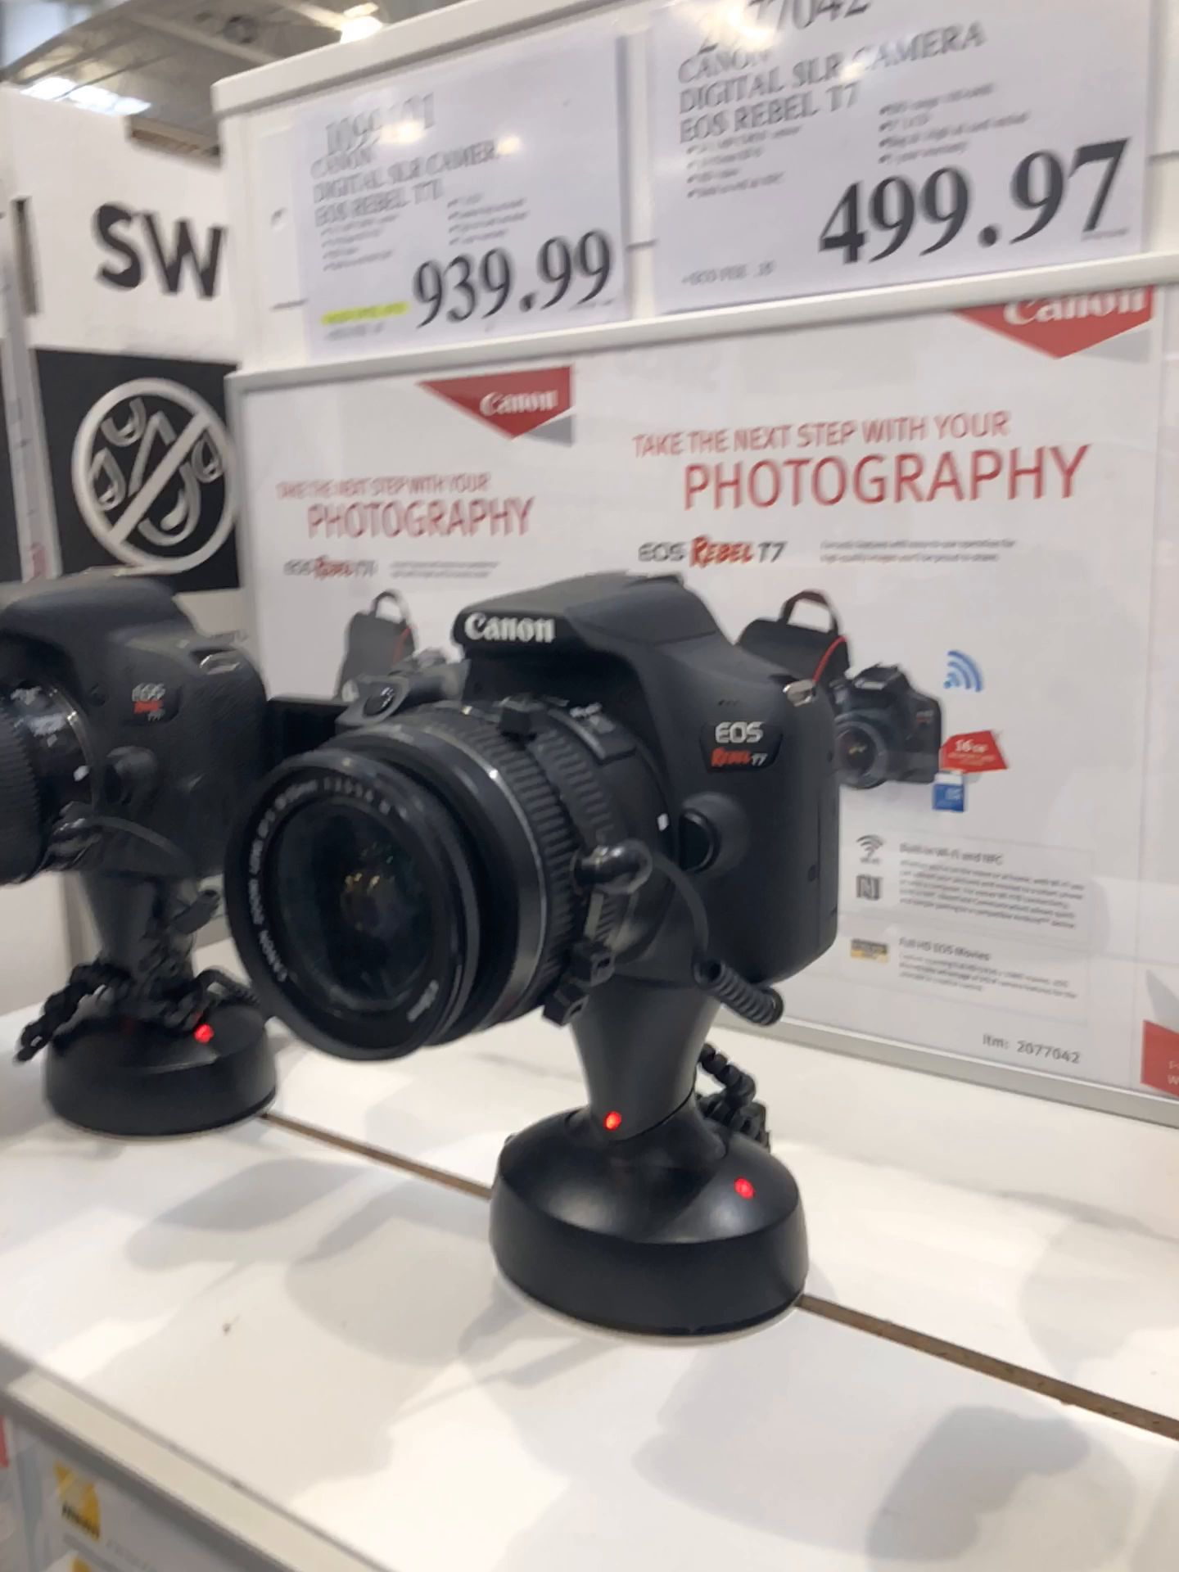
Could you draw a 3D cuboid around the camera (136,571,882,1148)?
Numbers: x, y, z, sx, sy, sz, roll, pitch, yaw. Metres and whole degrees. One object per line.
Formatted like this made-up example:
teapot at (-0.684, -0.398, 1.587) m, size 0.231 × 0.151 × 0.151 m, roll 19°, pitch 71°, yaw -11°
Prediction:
camera at (-0.014, 0.001, 0.316) m, size 0.130 × 0.100 × 0.120 m, roll 6°, pitch 13°, yaw 33°
